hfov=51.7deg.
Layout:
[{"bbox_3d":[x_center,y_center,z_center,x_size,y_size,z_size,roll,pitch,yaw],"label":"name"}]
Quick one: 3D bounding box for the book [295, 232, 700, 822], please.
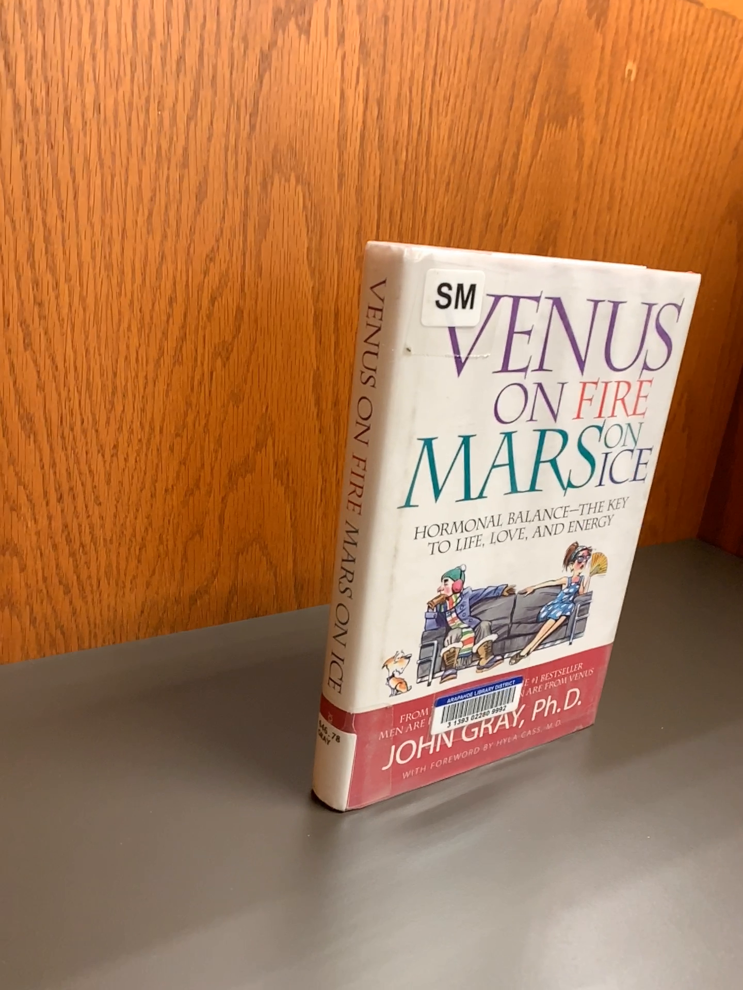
[{"bbox_3d":[0.051,0.013,0.321,0.154,0.220,0.033,-7,22,-32],"label":"book"}]
